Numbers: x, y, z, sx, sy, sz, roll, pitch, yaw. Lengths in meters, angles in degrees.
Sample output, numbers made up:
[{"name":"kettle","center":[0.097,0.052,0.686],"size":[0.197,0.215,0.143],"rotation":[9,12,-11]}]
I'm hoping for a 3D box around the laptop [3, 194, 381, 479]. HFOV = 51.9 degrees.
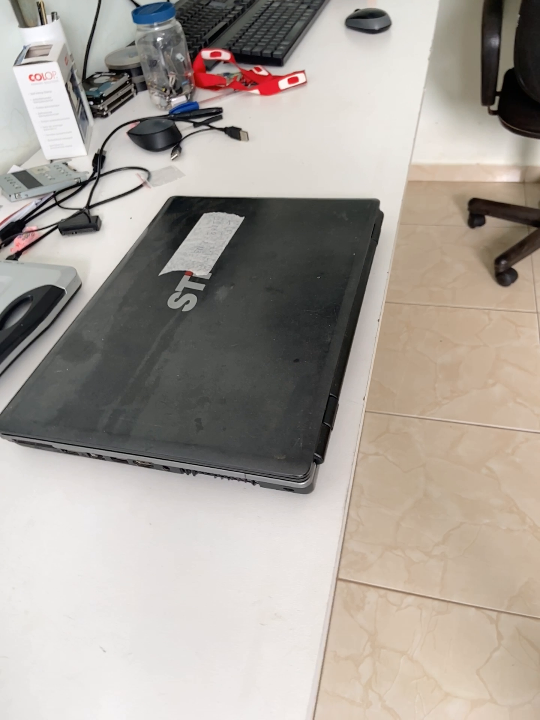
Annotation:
[{"name":"laptop","center":[-0.042,-0.057,0.495],"size":[0.234,0.006,0.339],"rotation":[6,47,16]}]
